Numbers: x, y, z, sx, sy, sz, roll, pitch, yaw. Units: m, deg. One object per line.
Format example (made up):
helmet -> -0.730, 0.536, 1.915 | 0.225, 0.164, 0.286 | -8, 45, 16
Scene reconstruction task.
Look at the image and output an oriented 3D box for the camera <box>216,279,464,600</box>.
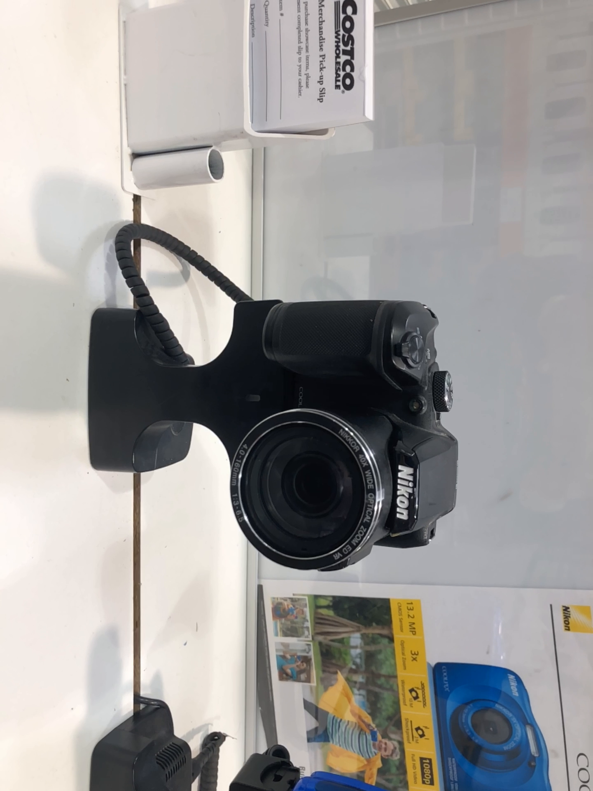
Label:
camera -> 0.026, 0.011, 0.297 | 0.101, 0.079, 0.116 | -12, 103, -65
